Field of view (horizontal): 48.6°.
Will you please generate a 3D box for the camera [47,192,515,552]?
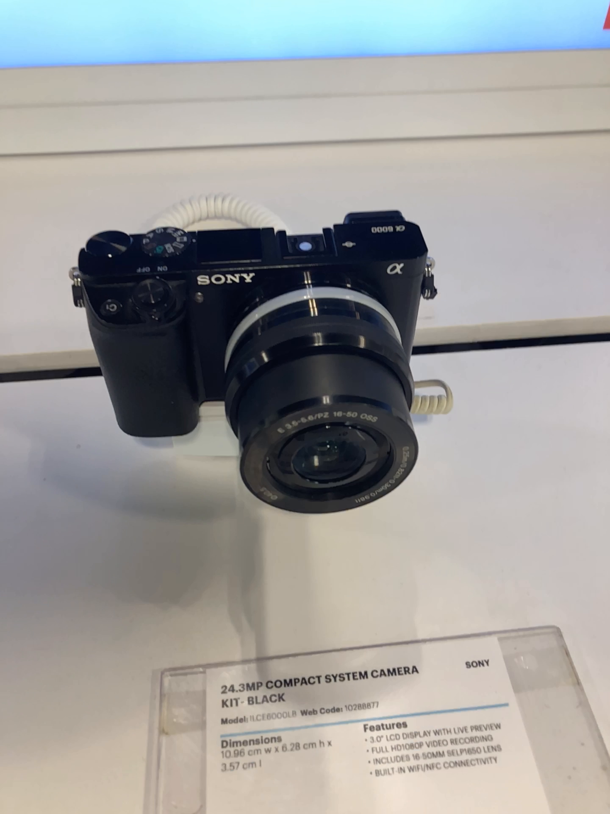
[{"bbox_3d":[-0.011,-0.016,0.246,0.130,0.070,0.101,-5,48,-5],"label":"camera"}]
